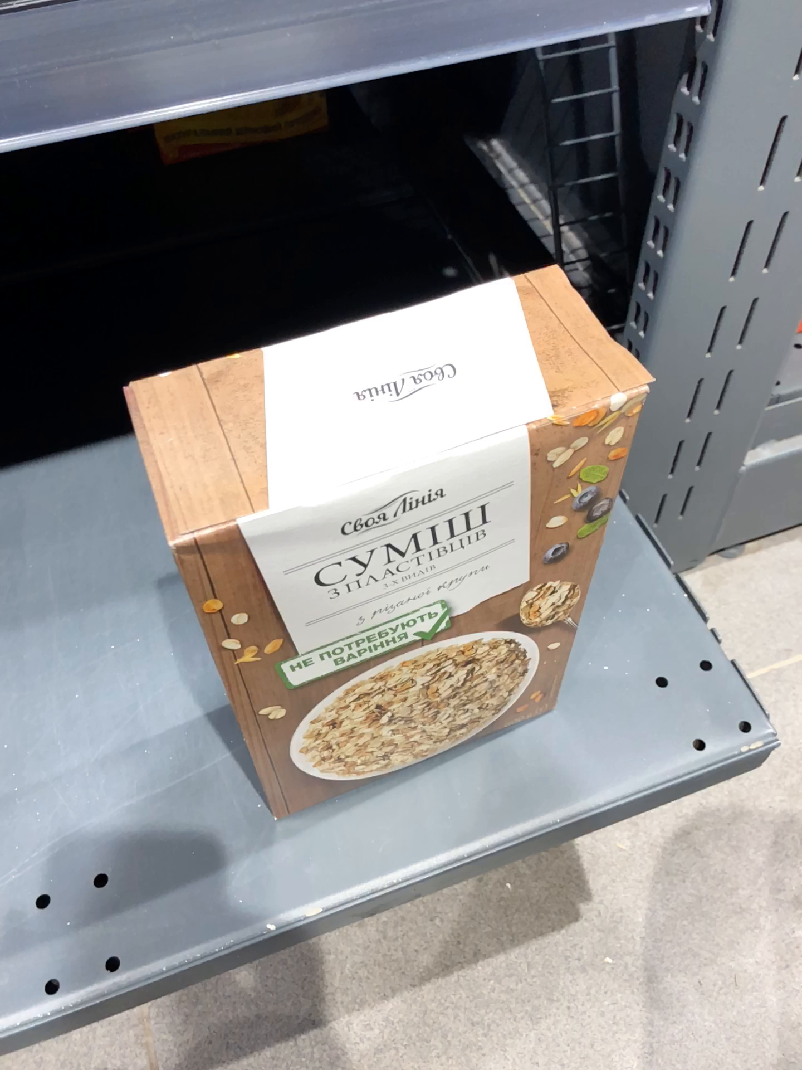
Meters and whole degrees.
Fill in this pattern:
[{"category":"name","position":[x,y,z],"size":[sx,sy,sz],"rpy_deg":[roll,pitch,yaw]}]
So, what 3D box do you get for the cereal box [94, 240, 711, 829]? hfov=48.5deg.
[{"category":"cereal box","position":[0.002,0.016,0.330],"size":[0.160,0.209,0.060],"rpy_deg":[-19,55,-12]}]
